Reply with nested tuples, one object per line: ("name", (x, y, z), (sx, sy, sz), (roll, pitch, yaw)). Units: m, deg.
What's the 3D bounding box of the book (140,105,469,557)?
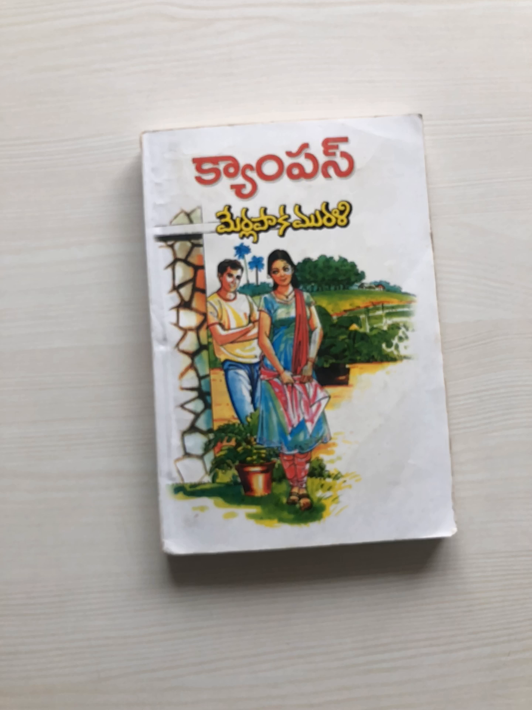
("book", (0.013, -0.011, 0.234), (0.113, 0.016, 0.163), (-4, 87, -1))
